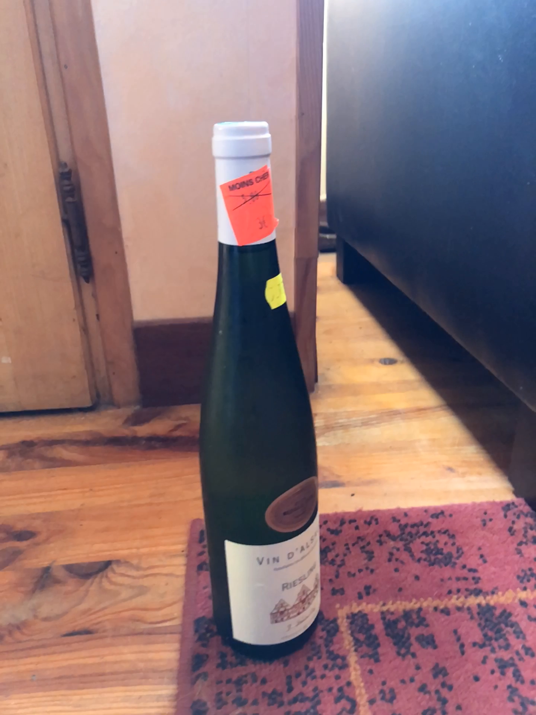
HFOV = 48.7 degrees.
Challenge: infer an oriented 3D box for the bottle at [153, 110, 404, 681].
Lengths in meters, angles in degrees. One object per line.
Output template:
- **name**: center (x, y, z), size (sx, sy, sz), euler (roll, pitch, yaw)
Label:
- **bottle**: center (0.008, 0.027, 0.330), size (0.080, 0.298, 0.080), euler (-1, 25, 0)
